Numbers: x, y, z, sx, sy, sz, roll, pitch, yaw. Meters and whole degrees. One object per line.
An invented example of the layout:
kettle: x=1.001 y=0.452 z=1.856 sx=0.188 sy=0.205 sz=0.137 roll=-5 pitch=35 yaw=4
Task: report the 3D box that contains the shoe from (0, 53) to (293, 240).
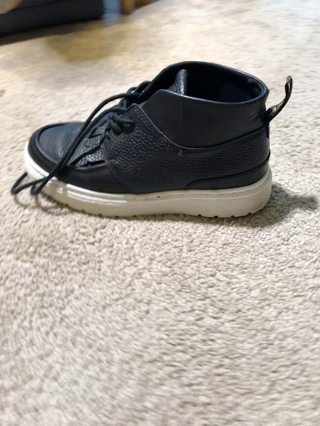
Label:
shoe: x=-0.025 y=-0.068 z=0.335 sx=0.261 sy=0.111 sz=0.107 roll=7 pitch=48 yaw=9
